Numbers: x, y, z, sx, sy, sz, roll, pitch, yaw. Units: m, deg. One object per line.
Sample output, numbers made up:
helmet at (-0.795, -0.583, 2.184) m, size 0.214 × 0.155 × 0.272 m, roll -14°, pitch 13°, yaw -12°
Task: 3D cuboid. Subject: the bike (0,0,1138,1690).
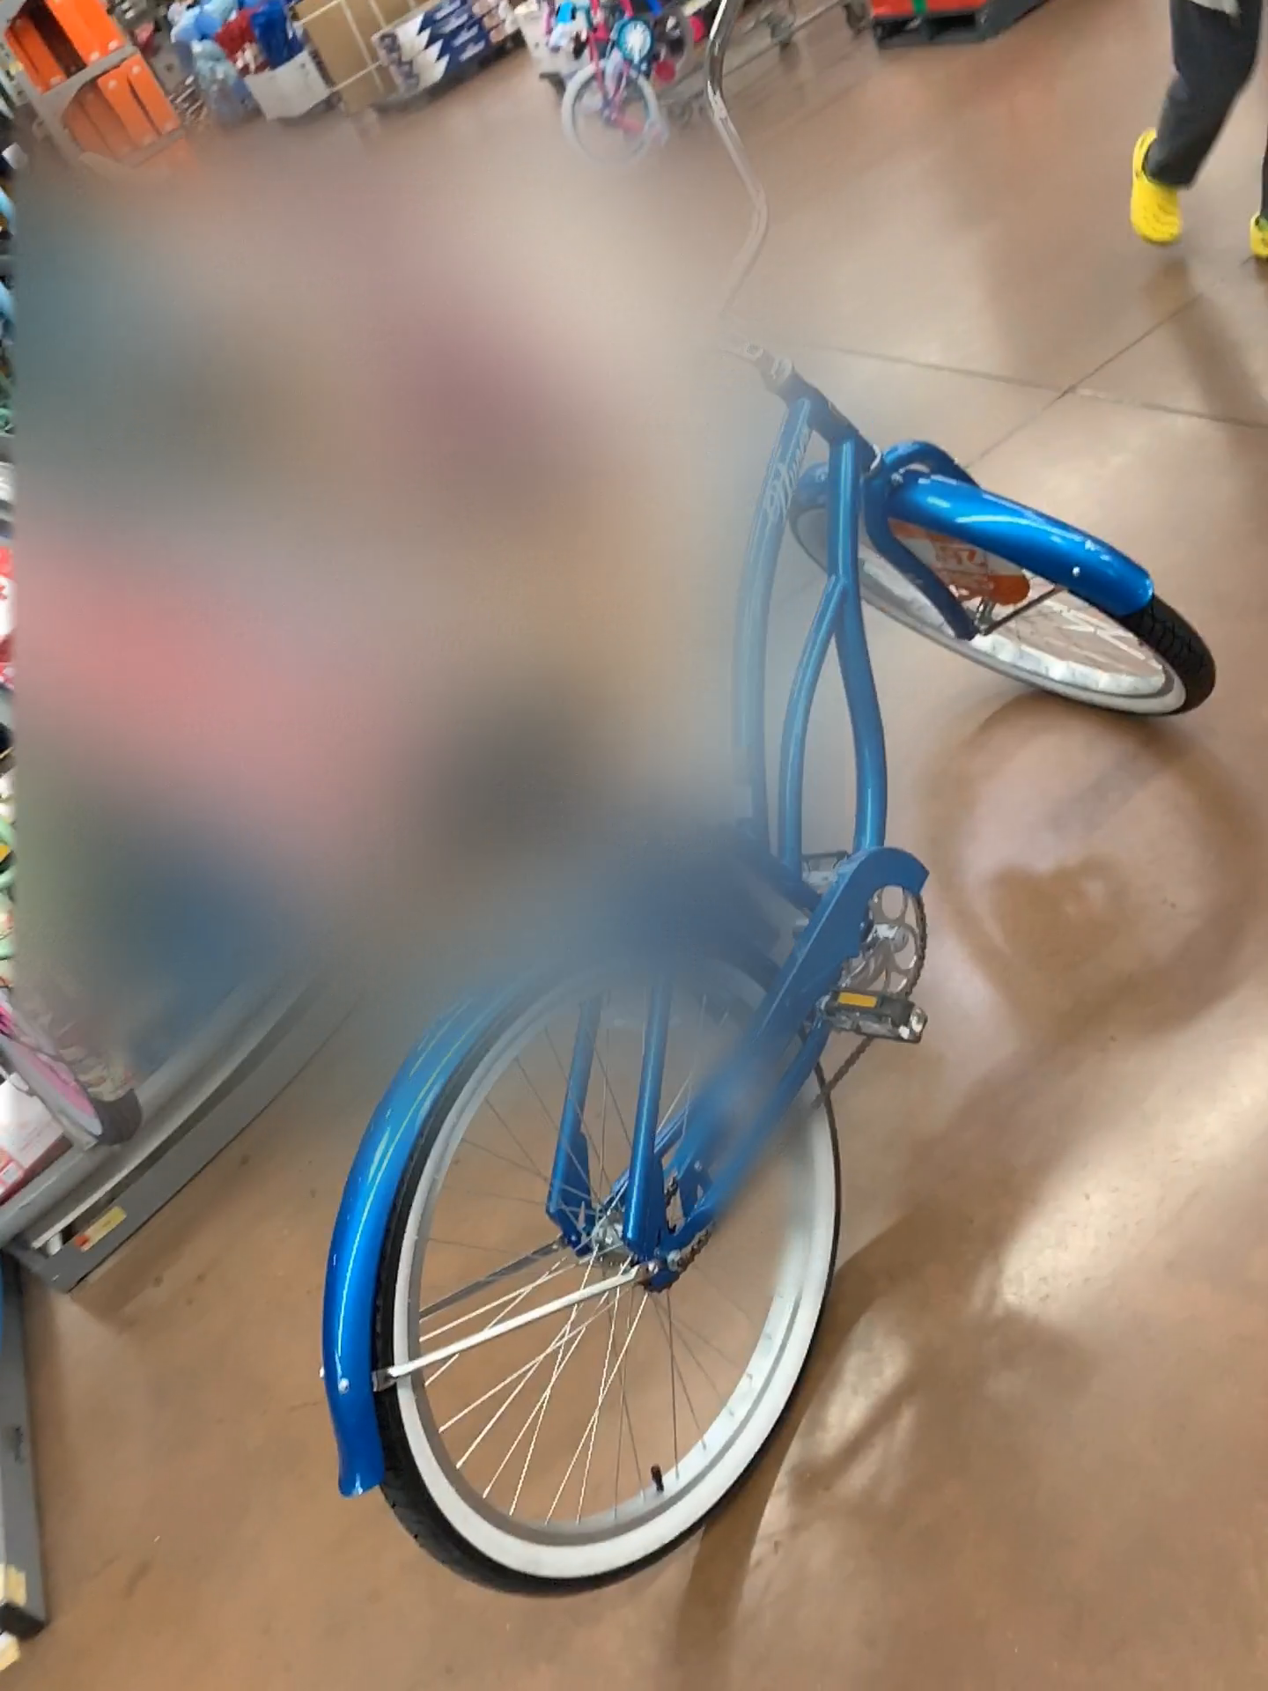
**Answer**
bike at (-0.050, -0.124, 1.463) m, size 0.876 × 1.207 × 1.532 m, roll -3°, pitch 44°, yaw 33°
